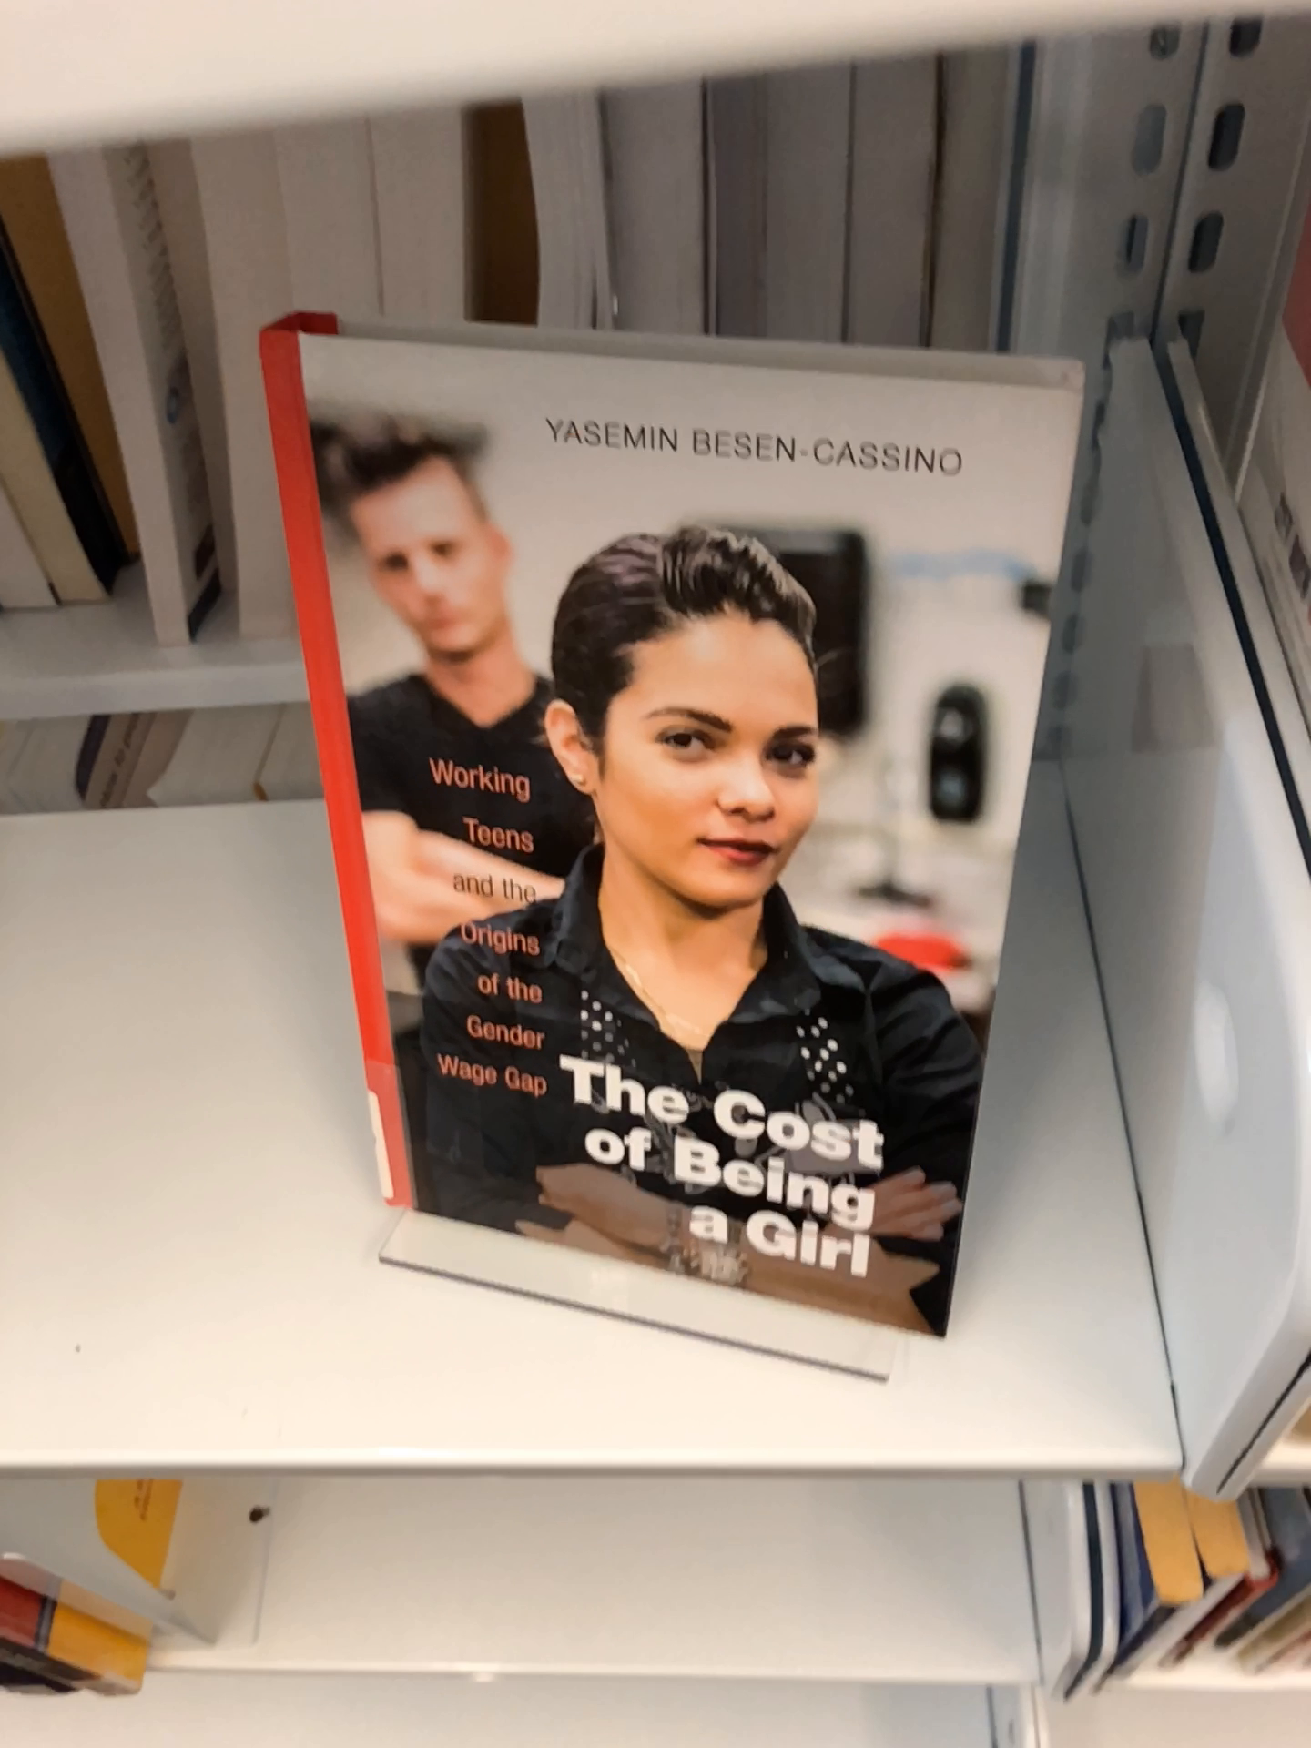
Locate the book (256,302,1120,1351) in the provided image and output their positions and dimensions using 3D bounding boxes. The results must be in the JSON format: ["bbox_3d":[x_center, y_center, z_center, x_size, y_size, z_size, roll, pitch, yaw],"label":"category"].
[{"bbox_3d":[0.005,-0.001,0.328,0.157,0.230,0.030,9,33,15],"label":"book"}]
